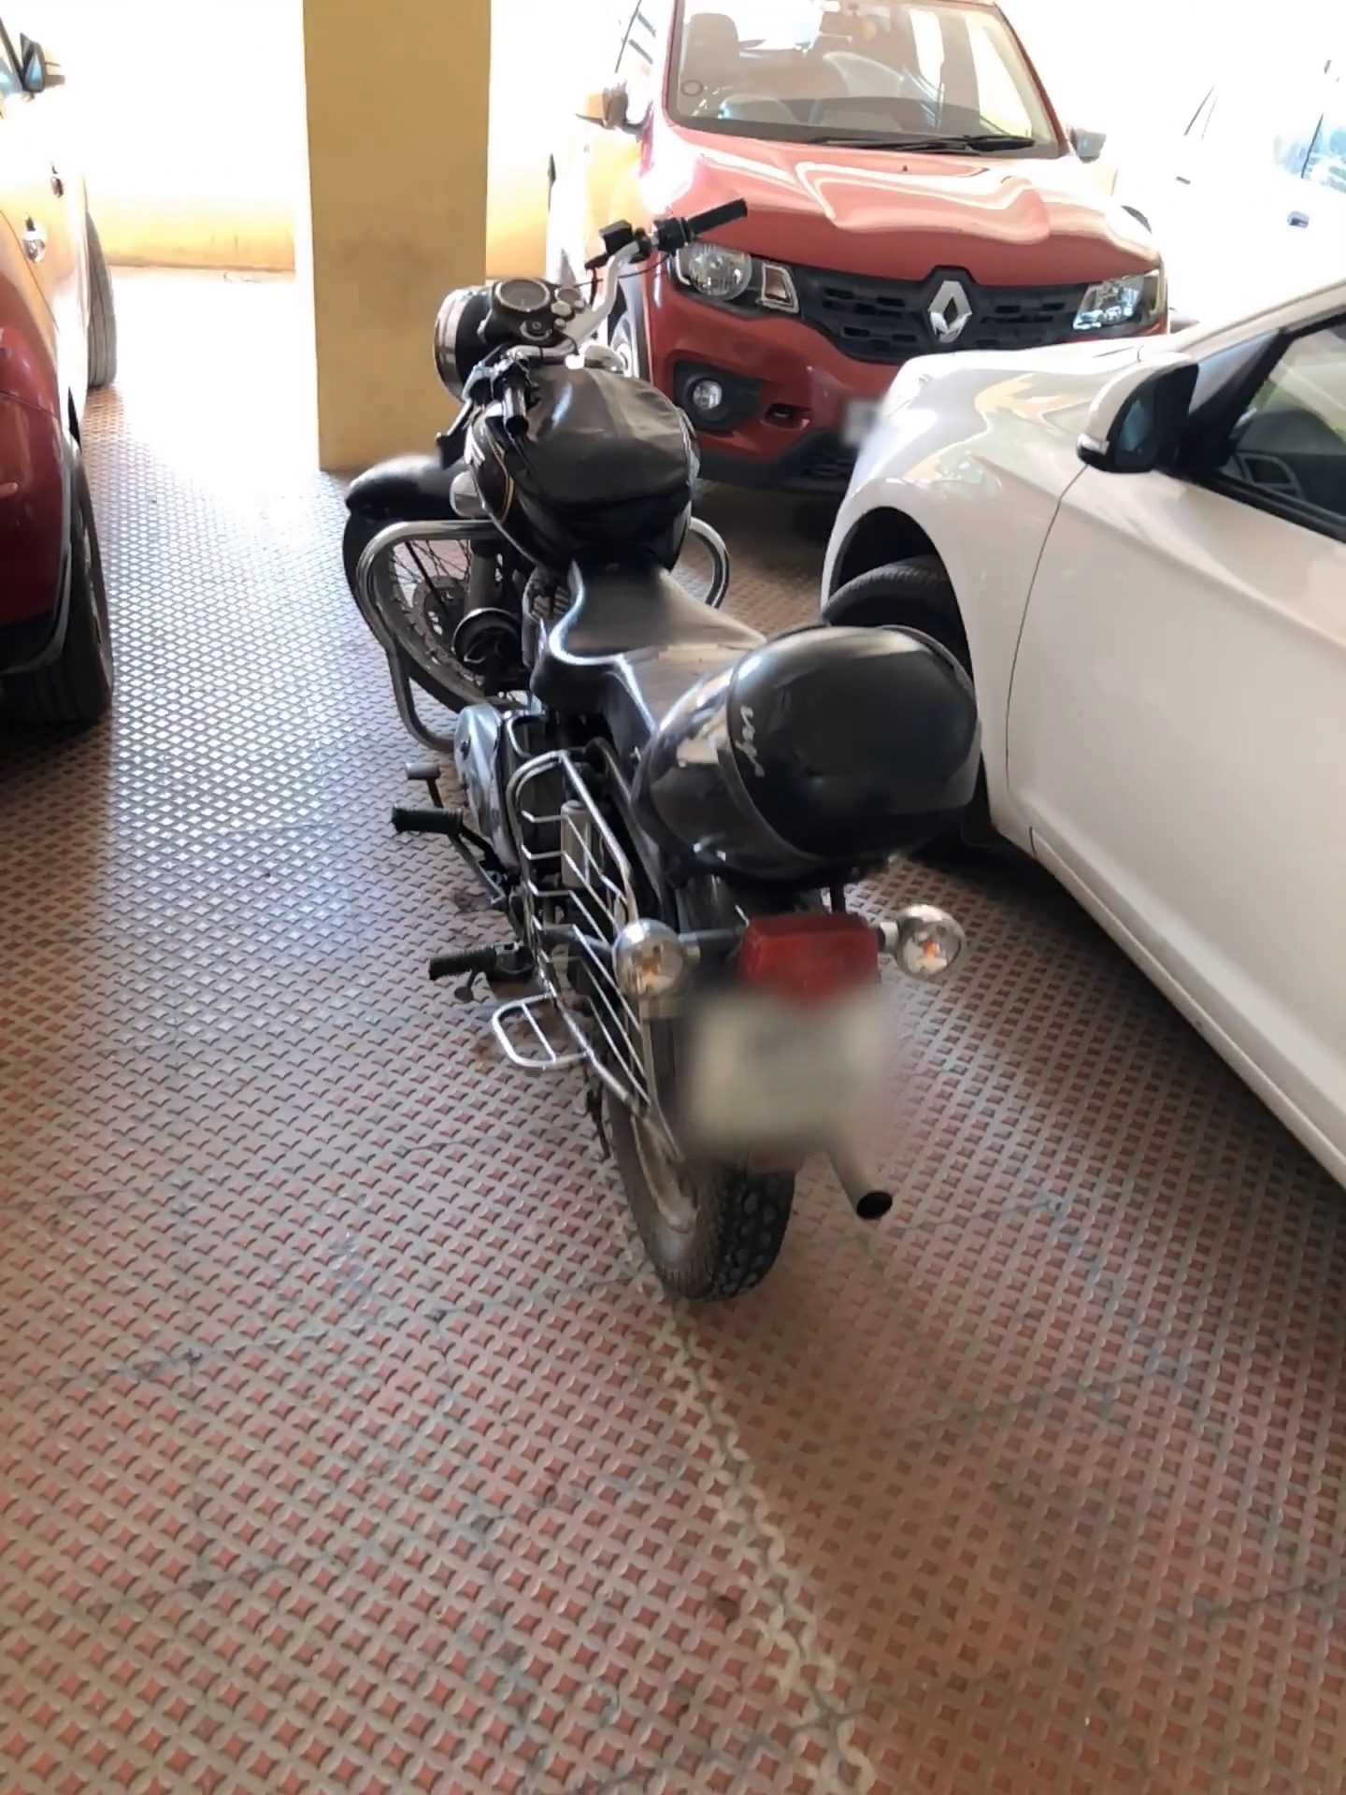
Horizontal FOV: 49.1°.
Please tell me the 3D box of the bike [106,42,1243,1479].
[{"bbox_3d":[-0.258,-0.359,2.169,0.692,1.216,1.792,-10,39,-23],"label":"bike"}]
